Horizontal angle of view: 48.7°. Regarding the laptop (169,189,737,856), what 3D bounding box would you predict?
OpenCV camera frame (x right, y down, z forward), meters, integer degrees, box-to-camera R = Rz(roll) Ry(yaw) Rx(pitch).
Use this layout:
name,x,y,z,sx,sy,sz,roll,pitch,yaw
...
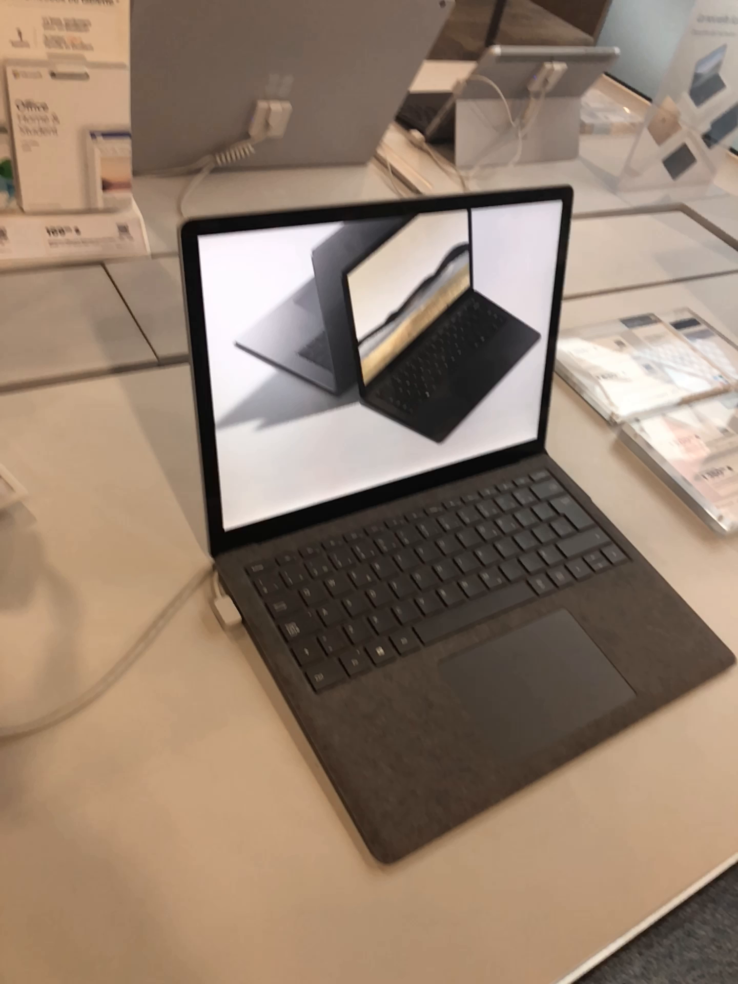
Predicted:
name,x,y,z,sx,sy,sz,roll,pitch,yaw
laptop,0.076,-0.015,0.512,0.298,0.196,0.295,-16,53,-30
